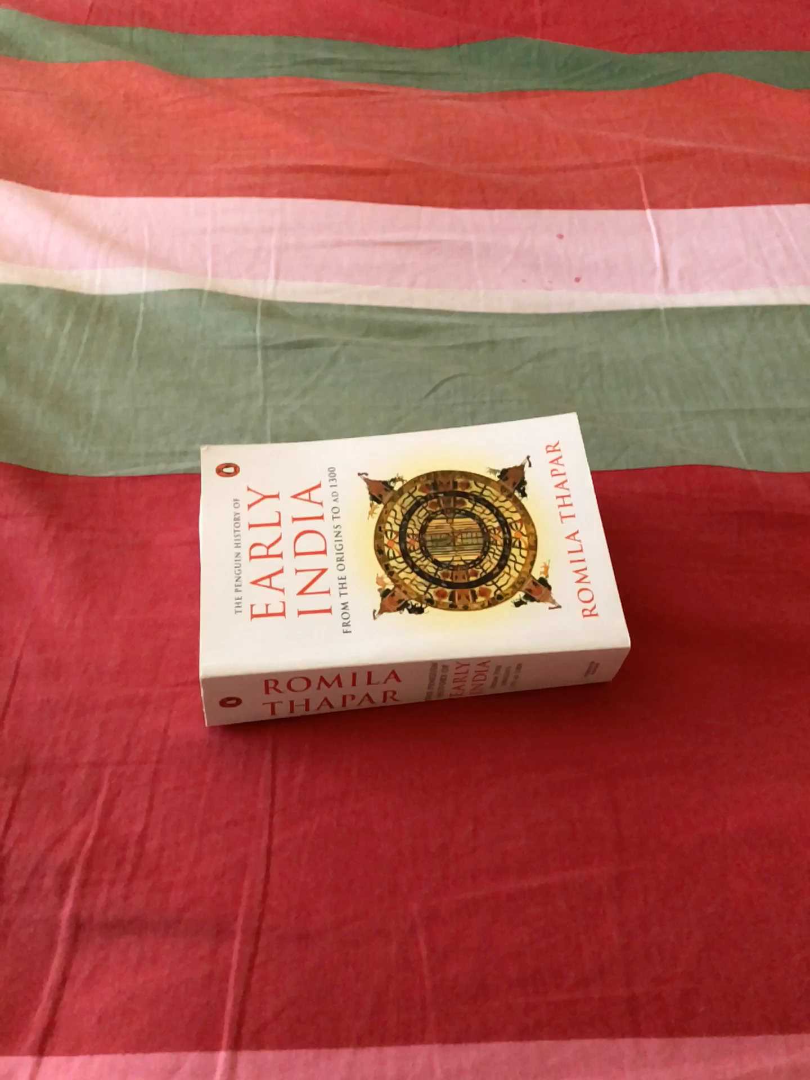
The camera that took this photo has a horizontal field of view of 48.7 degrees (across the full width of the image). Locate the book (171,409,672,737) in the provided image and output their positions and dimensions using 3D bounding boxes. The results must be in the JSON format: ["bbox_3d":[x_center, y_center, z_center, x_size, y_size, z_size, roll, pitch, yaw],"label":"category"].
[{"bbox_3d":[-0.001,0.009,0.418,0.201,0.070,0.121,-4,50,-14],"label":"book"}]
